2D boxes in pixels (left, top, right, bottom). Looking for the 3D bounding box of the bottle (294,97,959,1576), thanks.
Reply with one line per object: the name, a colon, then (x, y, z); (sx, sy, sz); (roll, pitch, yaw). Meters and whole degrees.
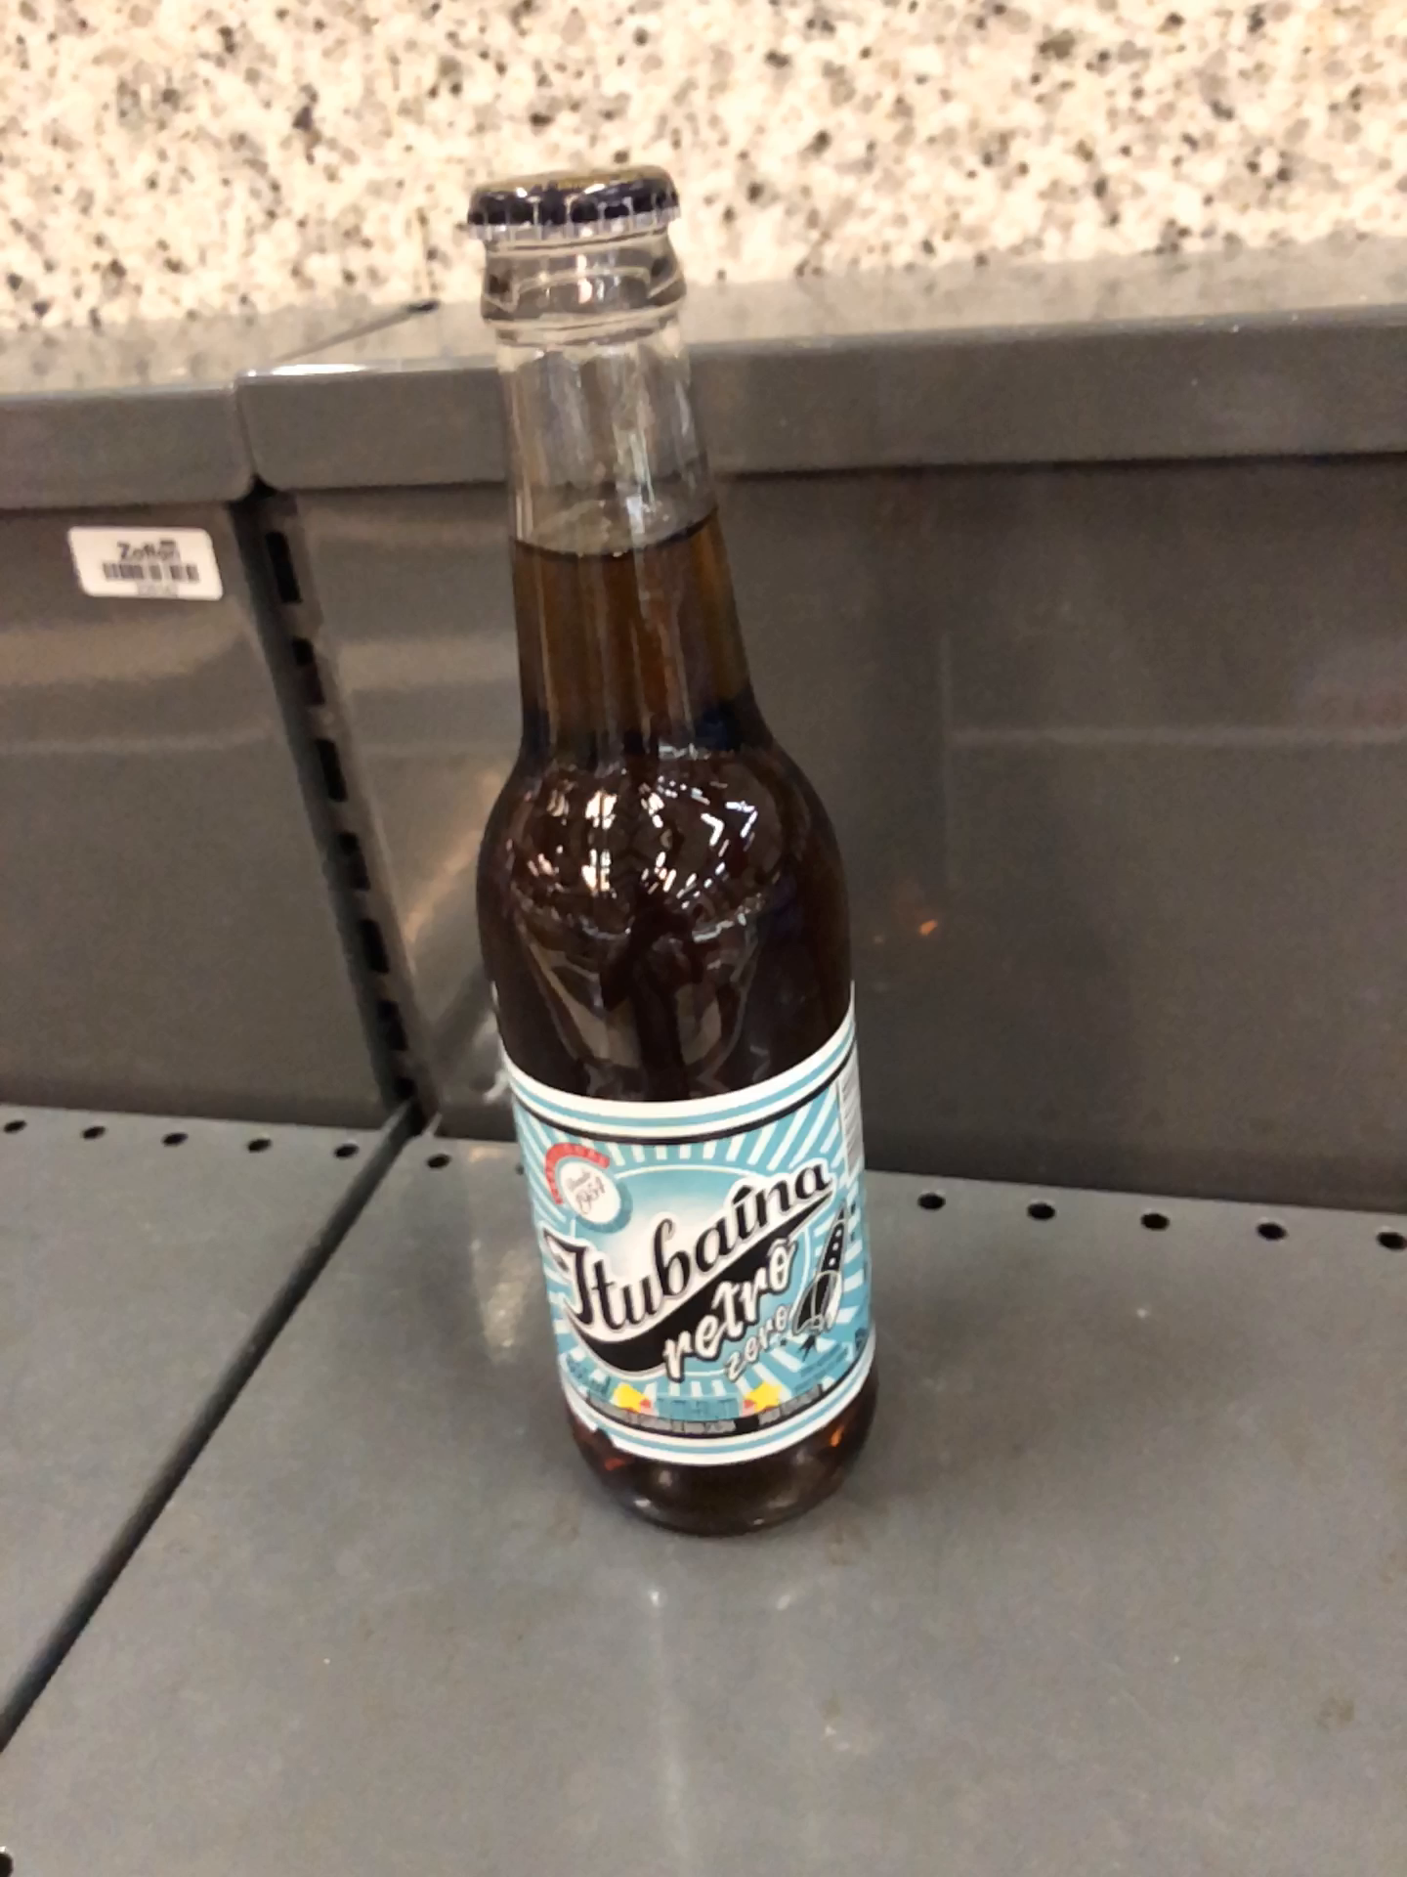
bottle: (0.002, 0.004, 0.254); (0.070, 0.238, 0.050); (-3, 31, 6)
